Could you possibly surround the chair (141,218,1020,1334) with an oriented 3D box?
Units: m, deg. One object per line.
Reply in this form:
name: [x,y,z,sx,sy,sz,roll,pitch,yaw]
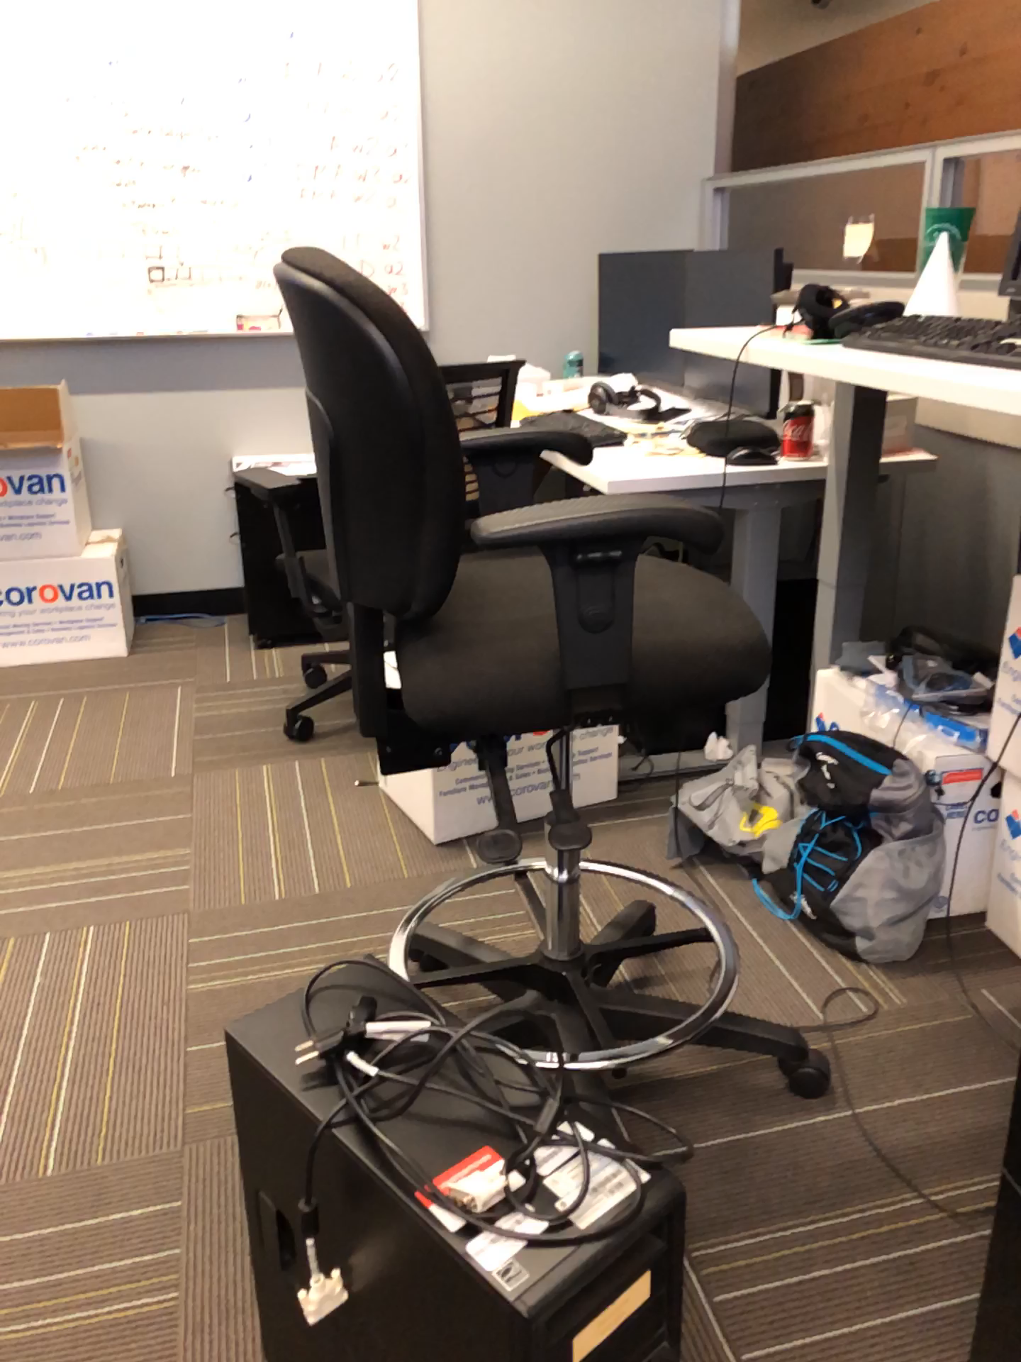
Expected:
chair: [0.082,-0.018,1.534,0.960,1.105,0.894,-7,21,-14]
